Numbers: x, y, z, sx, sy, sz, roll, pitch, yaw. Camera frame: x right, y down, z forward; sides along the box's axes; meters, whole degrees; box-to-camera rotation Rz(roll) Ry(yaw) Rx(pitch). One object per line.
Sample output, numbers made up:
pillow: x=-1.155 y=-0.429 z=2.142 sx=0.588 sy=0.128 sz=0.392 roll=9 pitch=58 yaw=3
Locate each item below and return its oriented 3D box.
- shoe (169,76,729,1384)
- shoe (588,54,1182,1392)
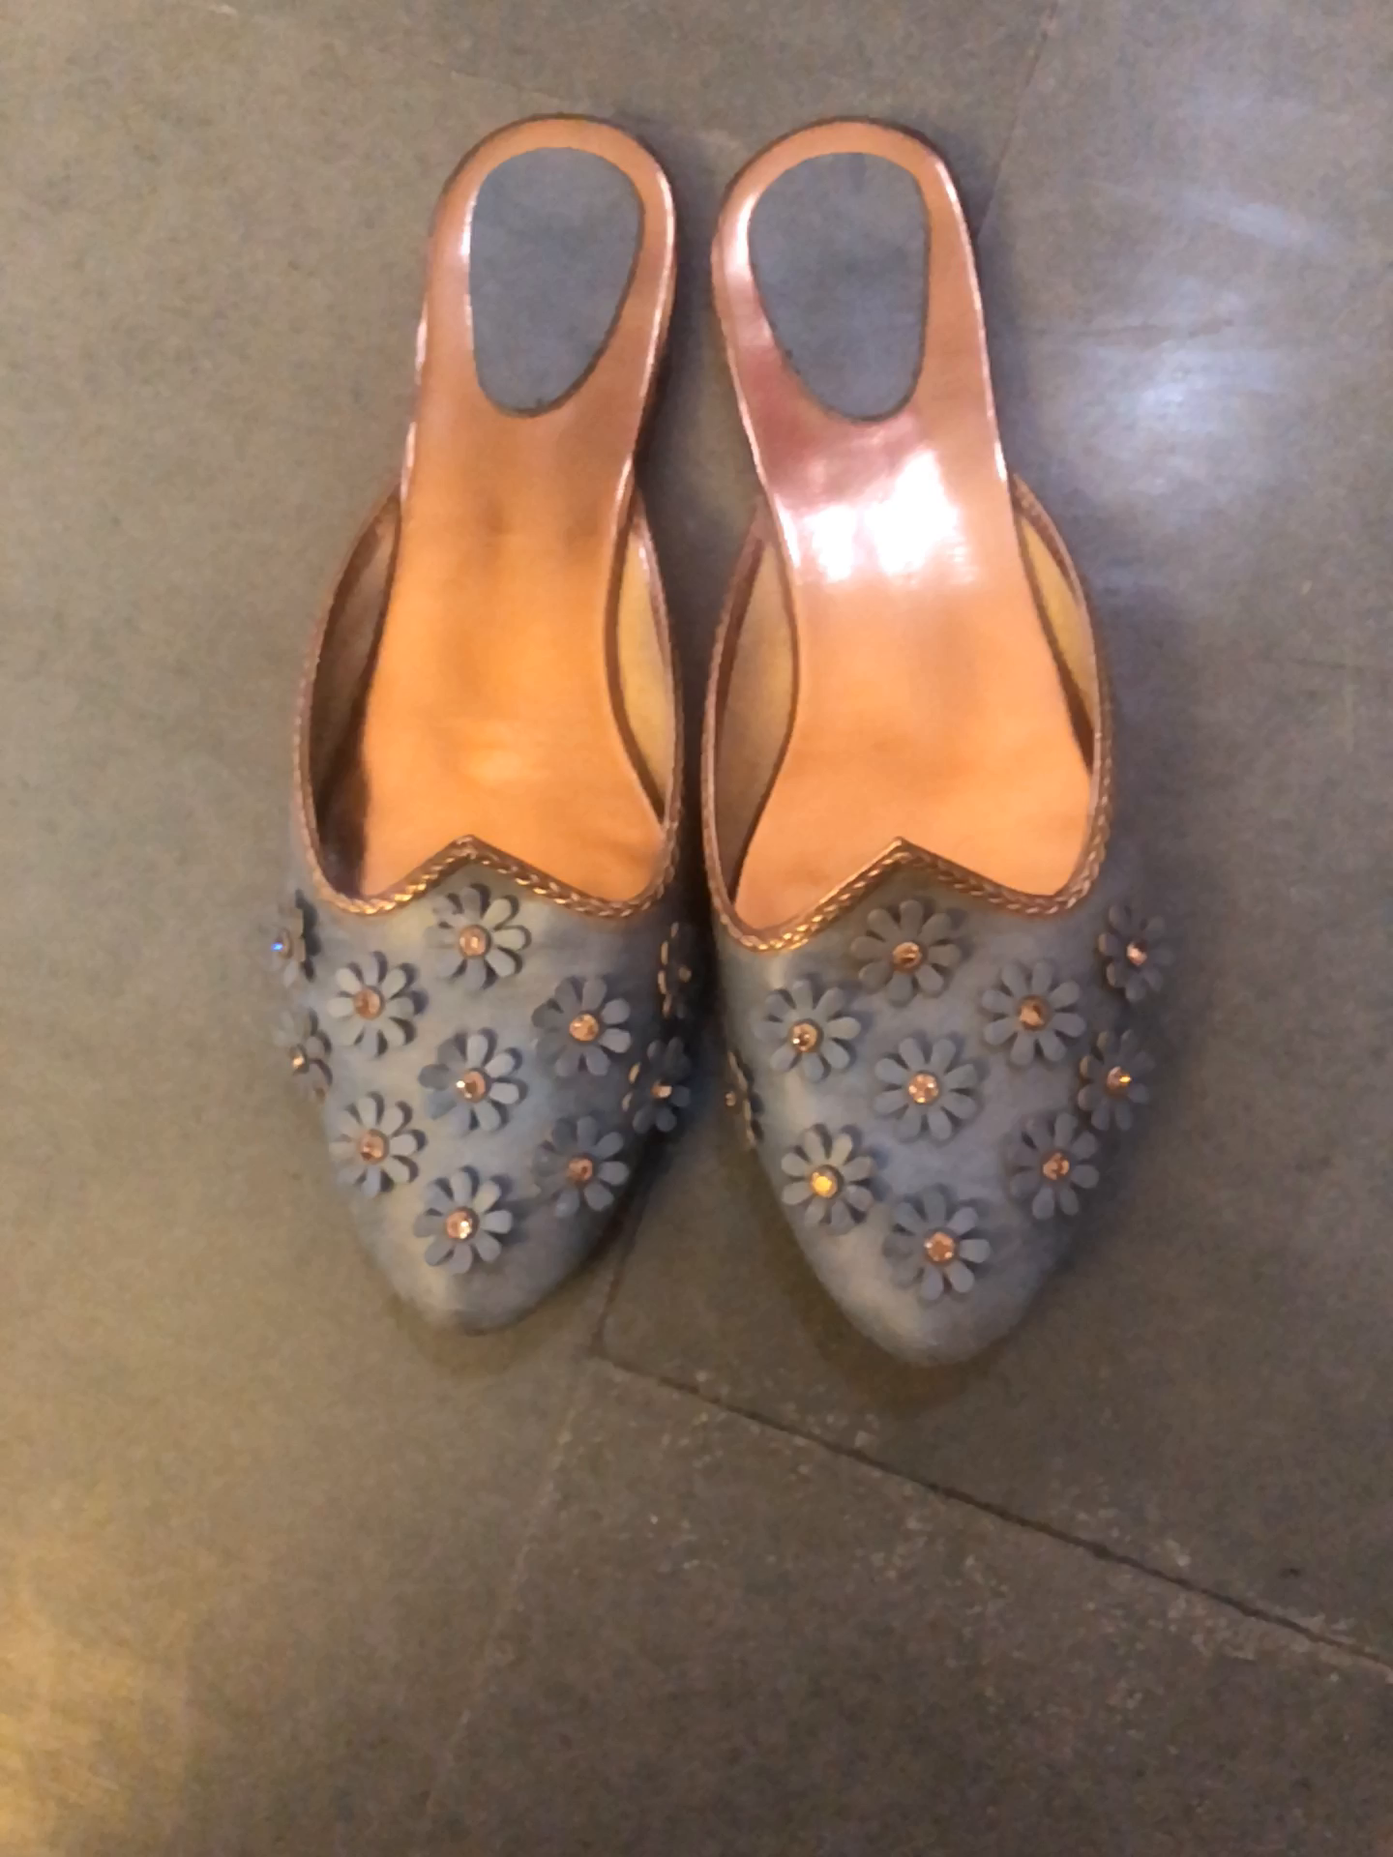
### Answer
shoe: x=-0.050 y=-0.044 z=0.347 sx=0.100 sy=0.050 sz=0.270 roll=1 pitch=85 yaw=7
shoe: x=0.038 y=-0.043 z=0.343 sx=0.100 sy=0.050 sz=0.270 roll=-4 pitch=84 yaw=7
